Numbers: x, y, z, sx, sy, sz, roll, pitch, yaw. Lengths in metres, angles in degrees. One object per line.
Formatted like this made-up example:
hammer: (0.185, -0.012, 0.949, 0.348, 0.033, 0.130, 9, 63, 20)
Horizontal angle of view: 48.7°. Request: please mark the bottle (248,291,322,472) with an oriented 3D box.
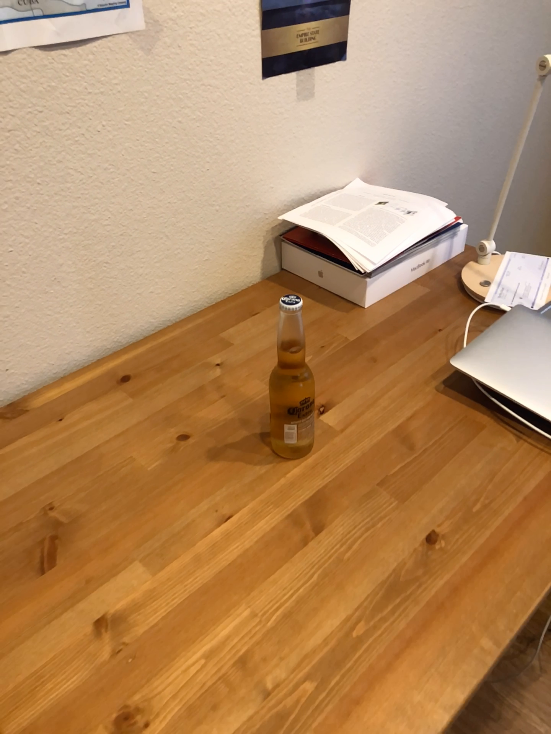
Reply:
bottle: (0.014, 0.024, 0.791, 0.070, 0.229, 0.070, -1, 37, 1)
